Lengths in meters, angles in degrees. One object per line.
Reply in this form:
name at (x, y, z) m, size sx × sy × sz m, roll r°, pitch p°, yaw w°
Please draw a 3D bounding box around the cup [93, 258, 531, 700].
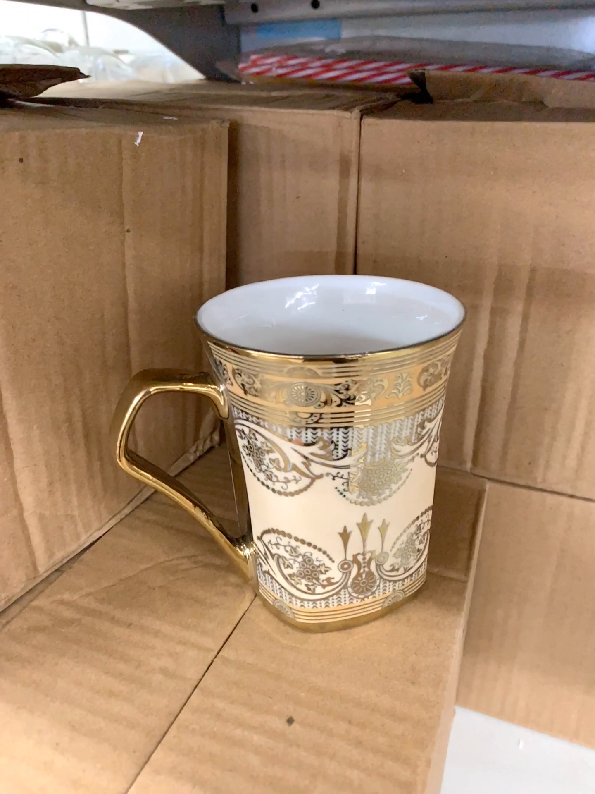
cup at (-0.002, 0.015, 0.202) m, size 0.104 × 0.092 × 0.084 m, roll -10°, pitch 27°, yaw -18°
